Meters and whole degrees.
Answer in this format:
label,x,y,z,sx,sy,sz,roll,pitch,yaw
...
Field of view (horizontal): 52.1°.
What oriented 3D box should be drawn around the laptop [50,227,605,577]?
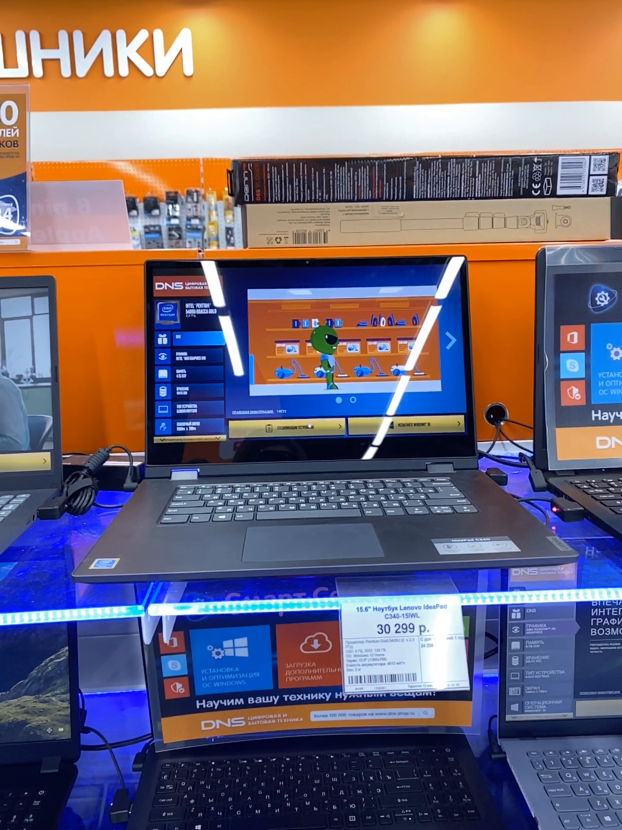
label,x,y,z,sx,sy,sz,roll,pitch,yaw
laptop,0.010,-0.035,0.588,0.362,0.232,0.318,-1,10,-4
